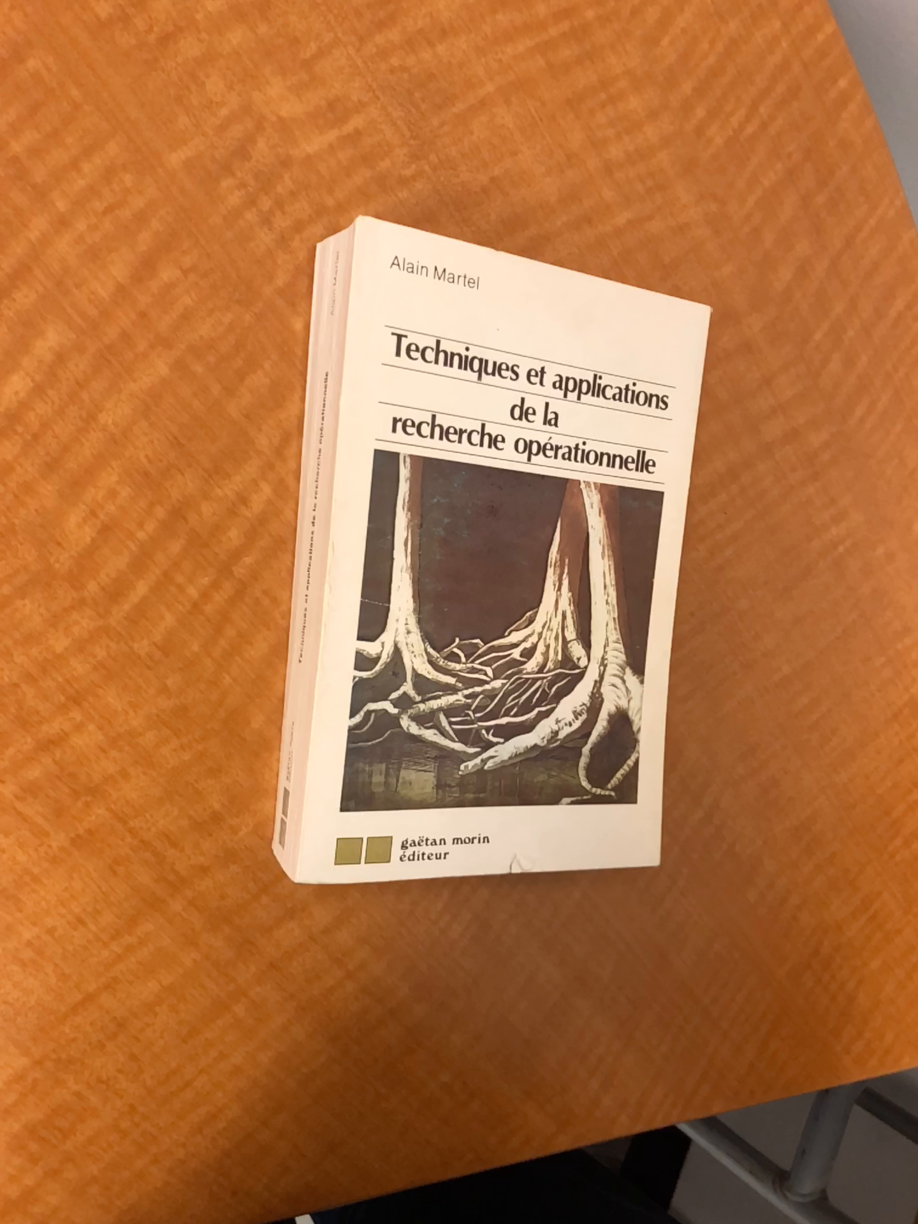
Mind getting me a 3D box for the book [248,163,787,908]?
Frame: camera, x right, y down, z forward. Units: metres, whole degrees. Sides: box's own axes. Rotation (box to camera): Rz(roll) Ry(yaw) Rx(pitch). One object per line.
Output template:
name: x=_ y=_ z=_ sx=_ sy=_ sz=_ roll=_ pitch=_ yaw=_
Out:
book: x=0.023 y=-0.019 z=0.383 sx=0.171 sy=0.070 sz=0.230 roll=4 pitch=94 yaw=-28
